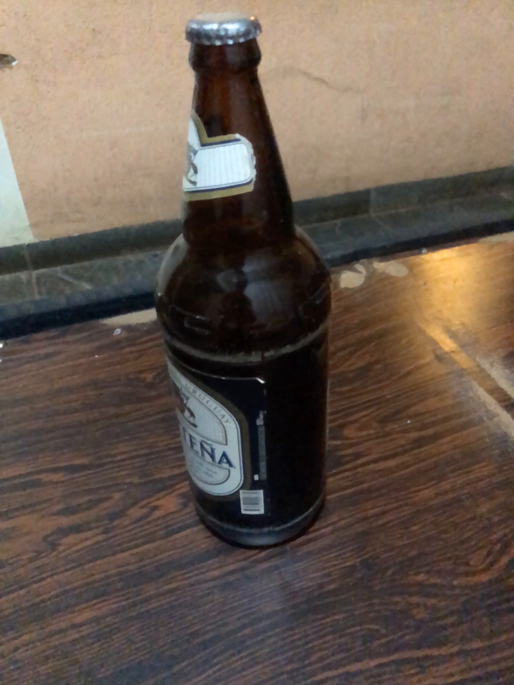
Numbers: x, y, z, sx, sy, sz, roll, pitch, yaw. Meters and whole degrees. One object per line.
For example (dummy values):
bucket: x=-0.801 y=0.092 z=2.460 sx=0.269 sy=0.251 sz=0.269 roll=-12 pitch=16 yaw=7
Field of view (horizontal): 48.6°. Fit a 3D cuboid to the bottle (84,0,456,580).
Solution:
bottle: x=0.002 y=-0.015 z=0.294 sx=0.100 sy=0.268 sz=0.100 roll=0 pitch=38 yaw=0
